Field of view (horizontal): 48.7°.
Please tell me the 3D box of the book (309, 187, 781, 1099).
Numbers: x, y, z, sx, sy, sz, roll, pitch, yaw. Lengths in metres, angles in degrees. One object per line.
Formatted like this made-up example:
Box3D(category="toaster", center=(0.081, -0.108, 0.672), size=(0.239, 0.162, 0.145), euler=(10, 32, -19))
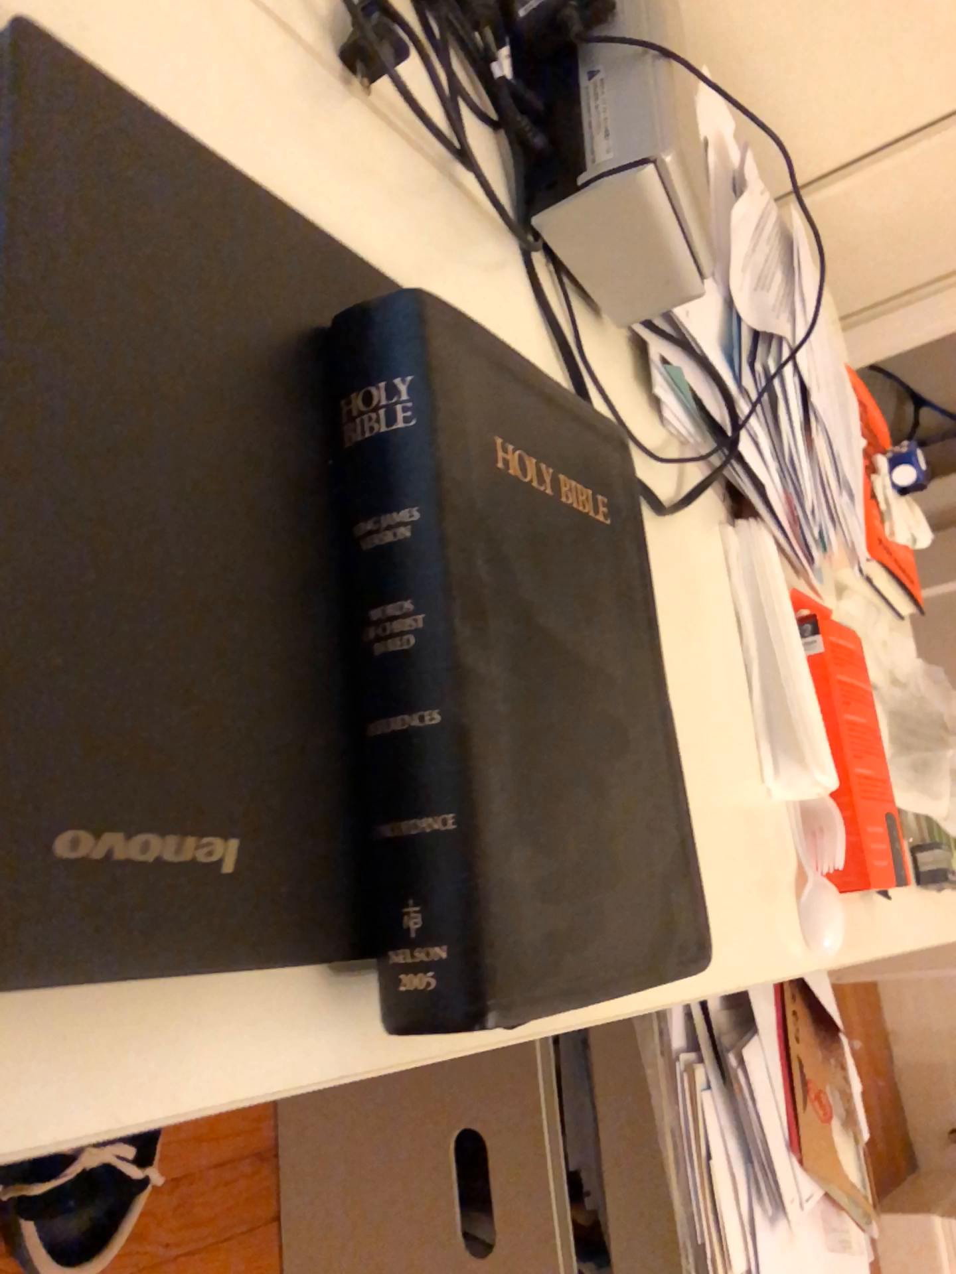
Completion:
Box3D(category="book", center=(0.028, 0.005, 0.347), size=(0.171, 0.040, 0.240), euler=(15, 63, -54))
